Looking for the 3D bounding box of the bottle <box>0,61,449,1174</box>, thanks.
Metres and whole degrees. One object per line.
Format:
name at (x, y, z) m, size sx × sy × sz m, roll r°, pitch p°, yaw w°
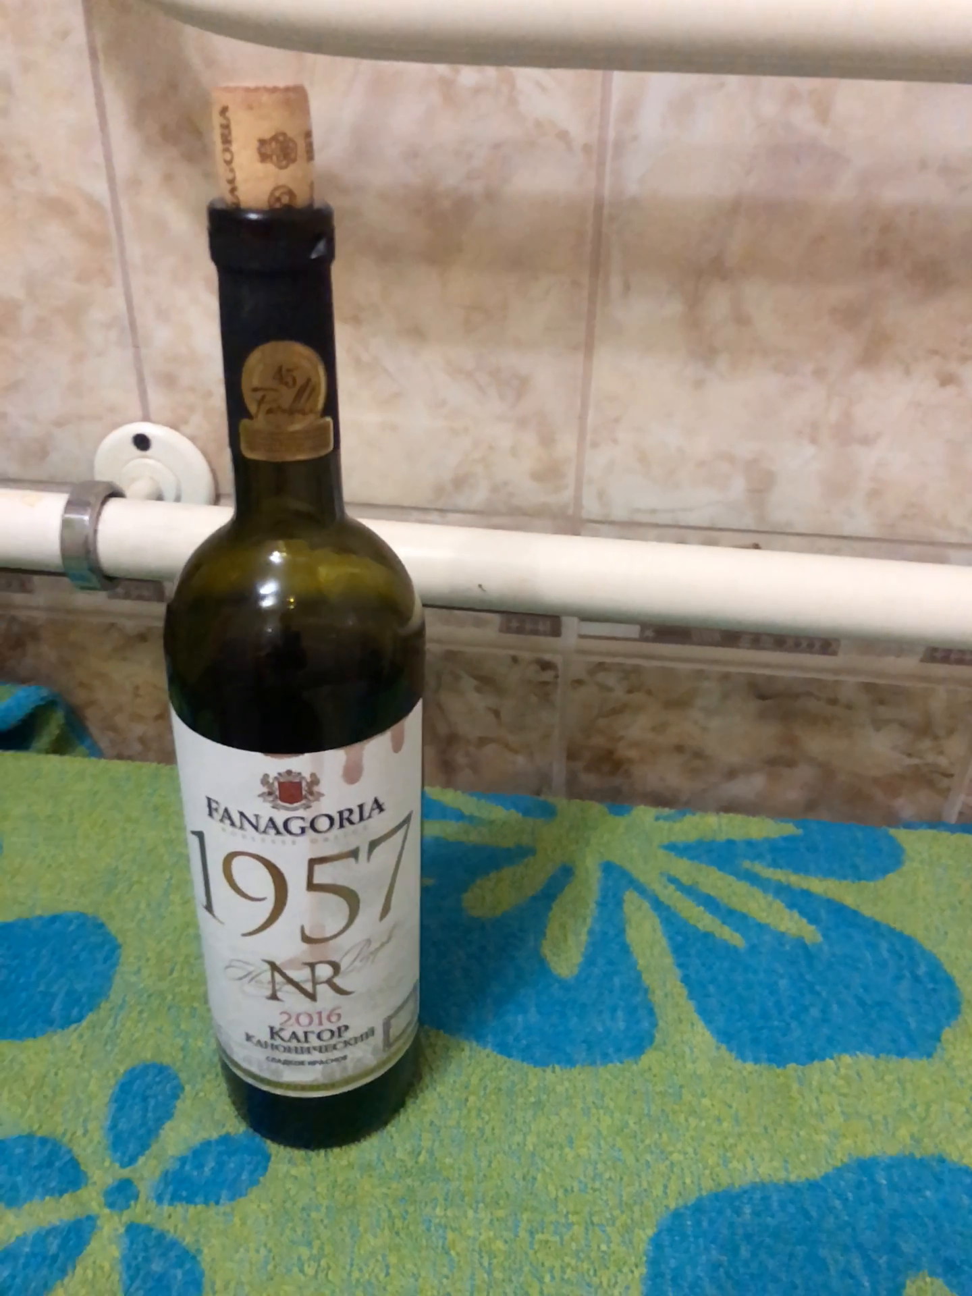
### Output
bottle at (-0.058, 0.014, 0.313) m, size 0.080 × 0.318 × 0.080 m, roll 1°, pitch 31°, yaw -1°
